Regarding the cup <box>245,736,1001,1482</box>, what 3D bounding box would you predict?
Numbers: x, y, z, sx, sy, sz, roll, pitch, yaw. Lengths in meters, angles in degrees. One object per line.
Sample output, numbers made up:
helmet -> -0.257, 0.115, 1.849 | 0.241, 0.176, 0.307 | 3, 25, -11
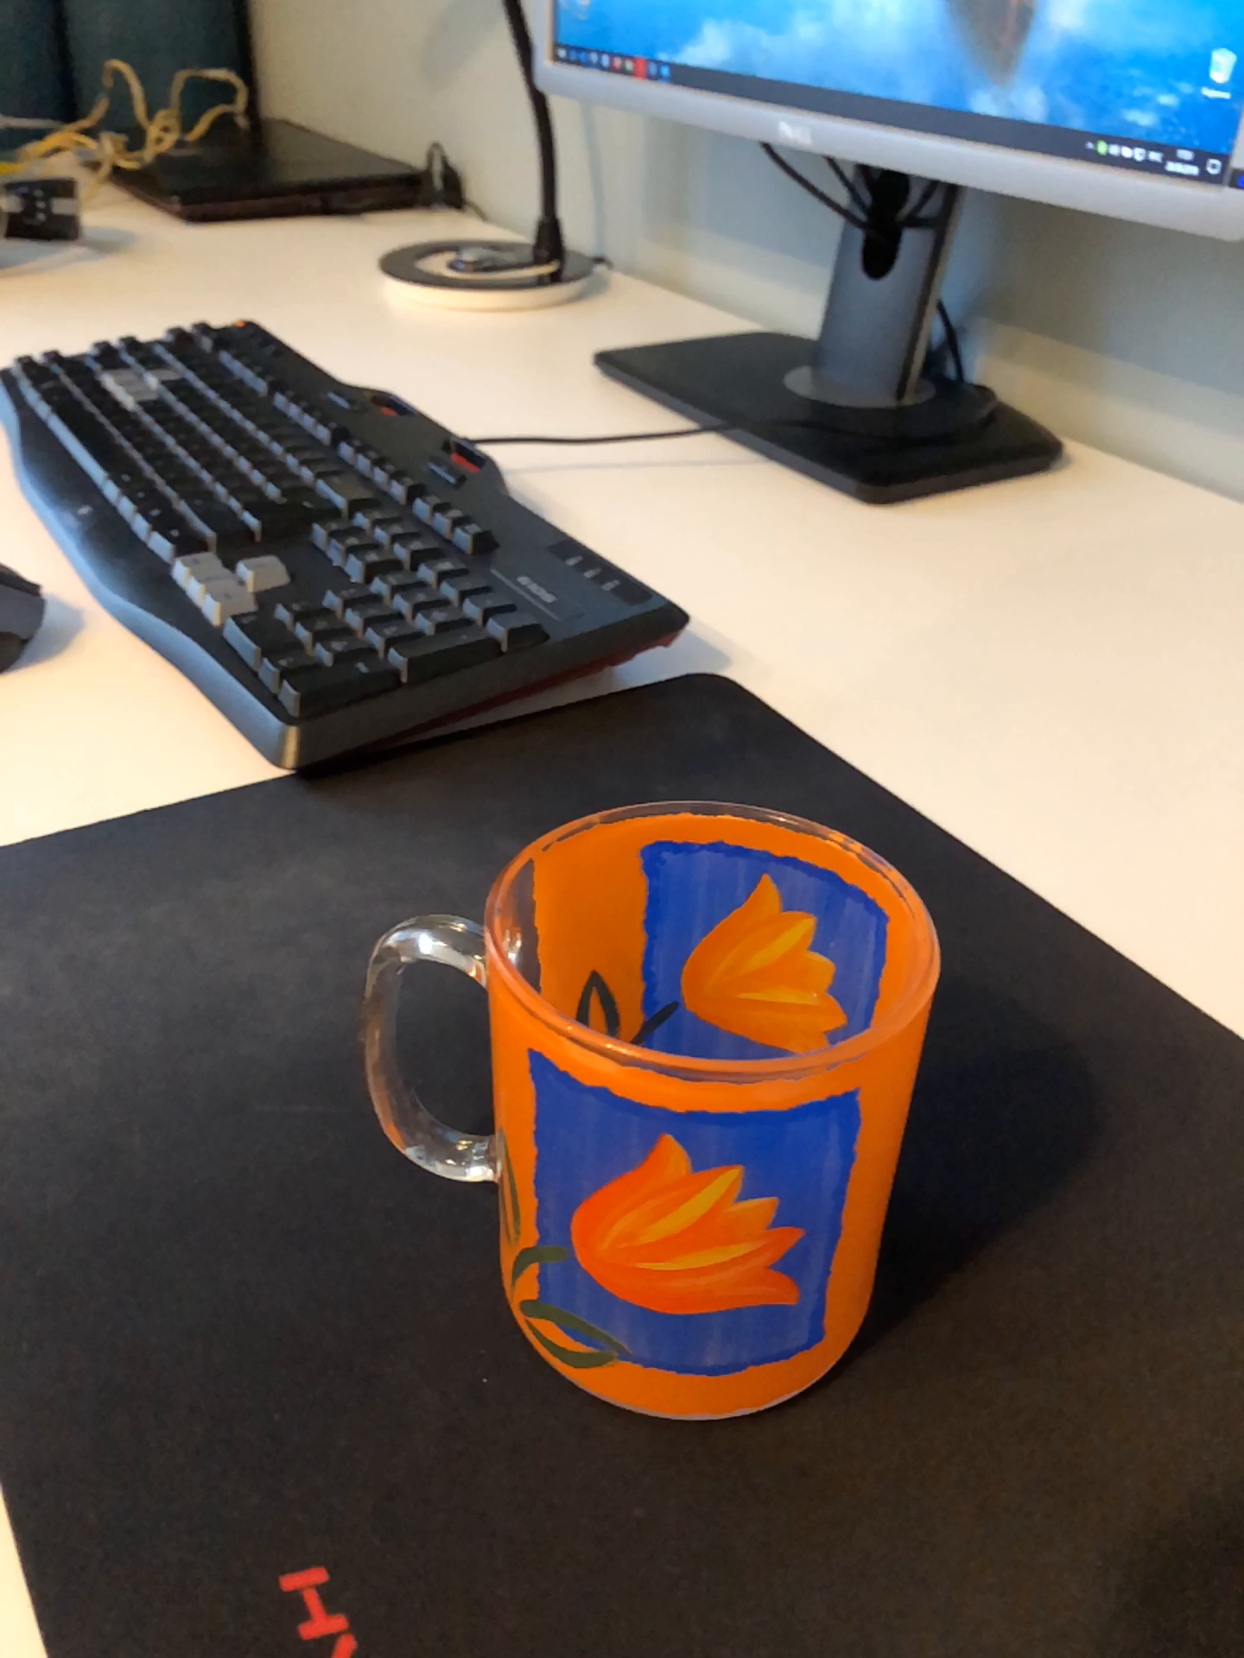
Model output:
cup -> 0.004, 0.048, 0.260 | 0.114, 0.089, 0.076 | 10, 34, 13
